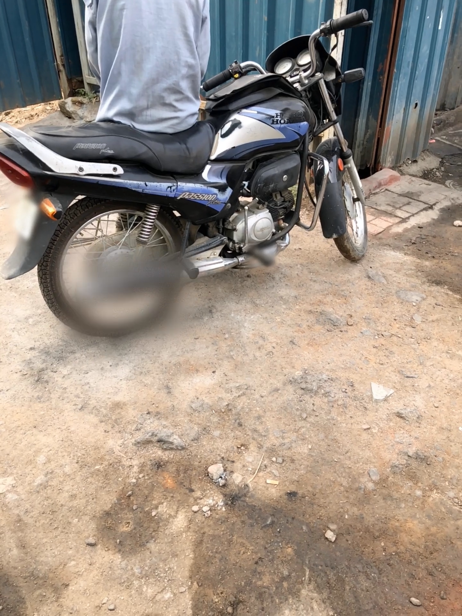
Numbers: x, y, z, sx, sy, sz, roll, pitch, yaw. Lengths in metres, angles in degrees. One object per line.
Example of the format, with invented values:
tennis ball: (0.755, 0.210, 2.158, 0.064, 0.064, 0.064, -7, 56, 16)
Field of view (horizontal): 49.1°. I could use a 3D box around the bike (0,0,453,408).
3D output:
bike: (-0.017, -0.649, 2.195, 1.807, 1.154, 0.786, -24, 40, -30)
